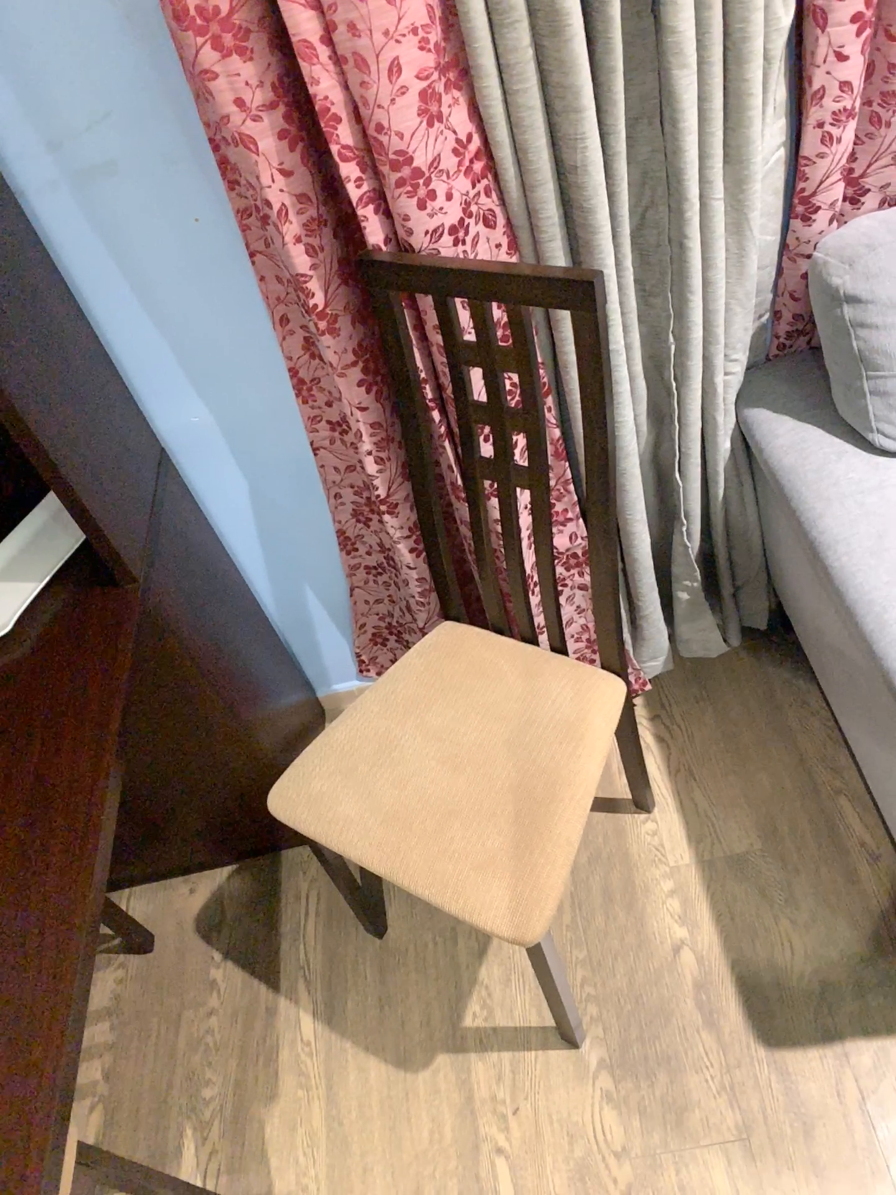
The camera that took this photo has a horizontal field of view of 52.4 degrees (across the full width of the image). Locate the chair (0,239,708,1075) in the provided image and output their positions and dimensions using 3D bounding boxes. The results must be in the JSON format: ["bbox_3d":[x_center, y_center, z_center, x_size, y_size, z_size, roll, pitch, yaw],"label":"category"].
[{"bbox_3d":[-0.016,0.121,1.221,0.531,0.977,0.510,16,55,30],"label":"chair"}]
